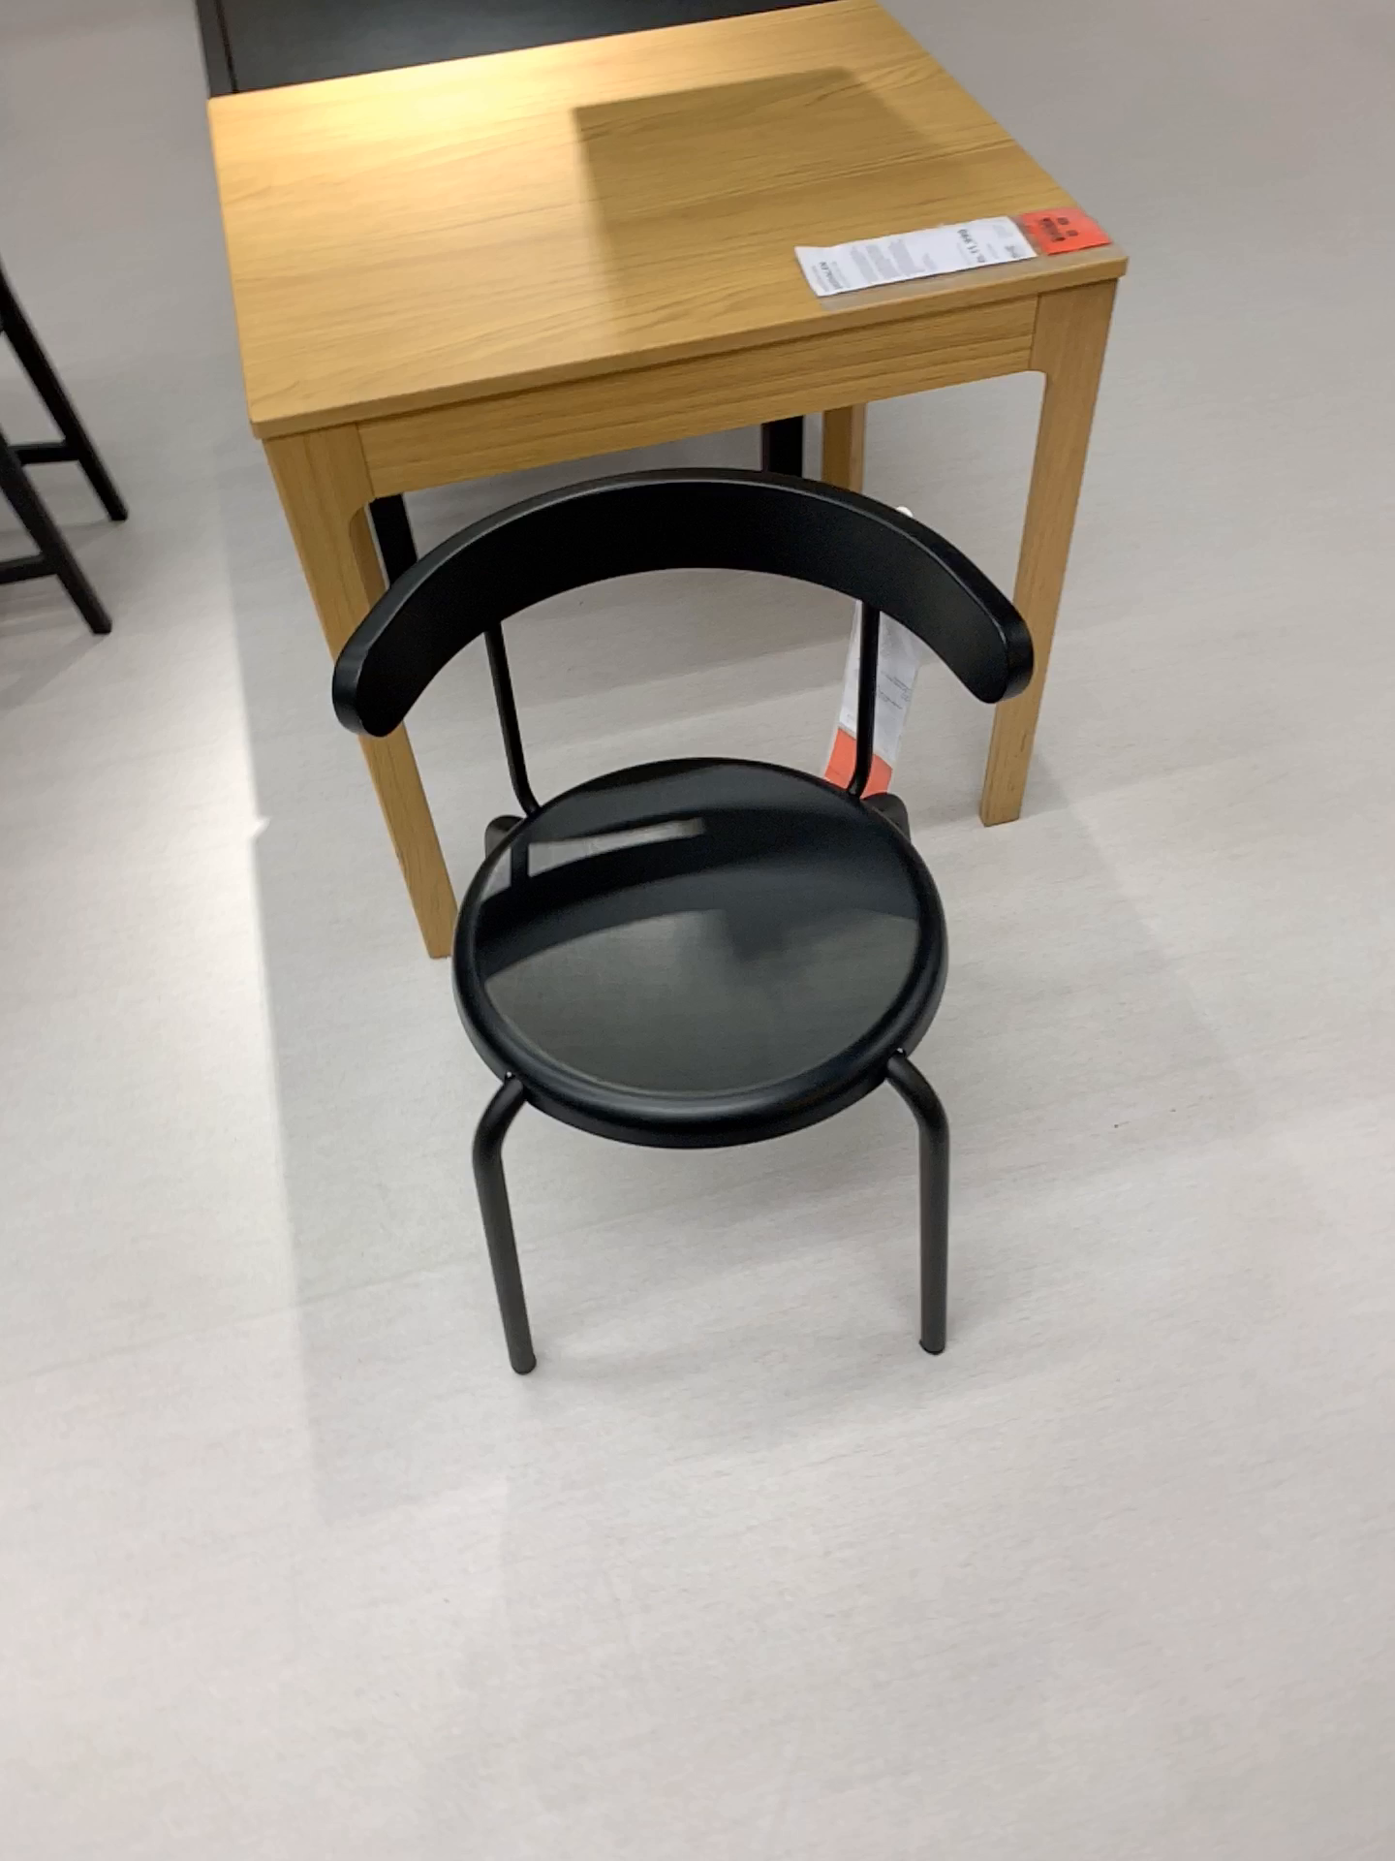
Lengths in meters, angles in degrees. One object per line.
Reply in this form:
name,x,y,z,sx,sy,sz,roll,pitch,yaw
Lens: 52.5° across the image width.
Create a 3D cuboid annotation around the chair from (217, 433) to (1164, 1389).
chair,-0.001,-0.003,1.305,0.590,0.598,0.612,-3,51,1
